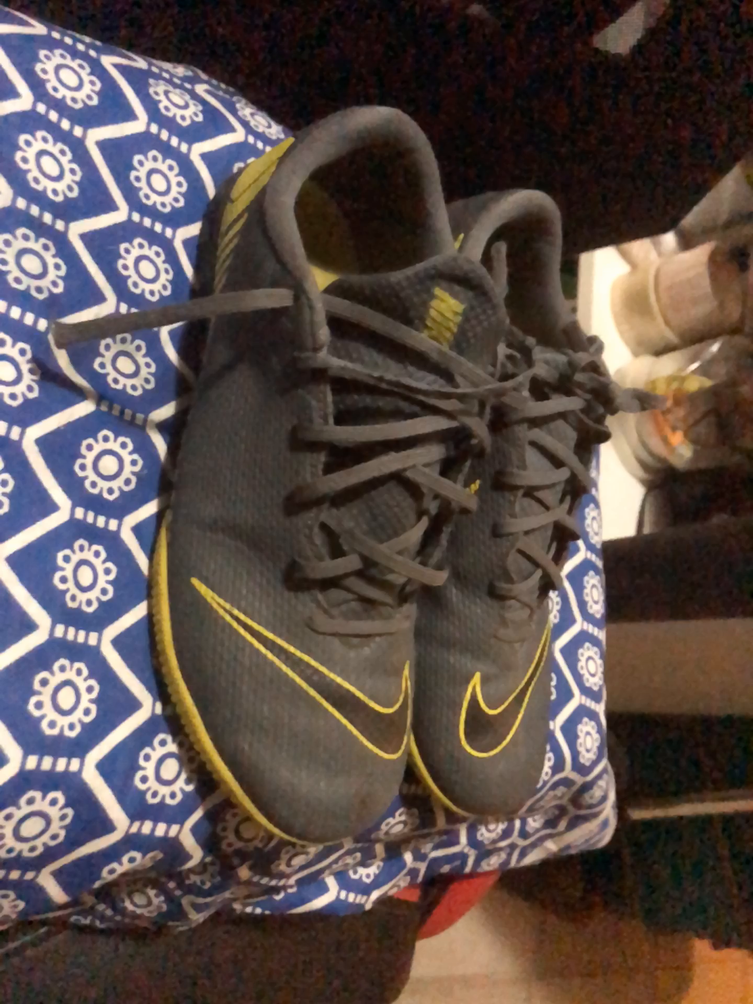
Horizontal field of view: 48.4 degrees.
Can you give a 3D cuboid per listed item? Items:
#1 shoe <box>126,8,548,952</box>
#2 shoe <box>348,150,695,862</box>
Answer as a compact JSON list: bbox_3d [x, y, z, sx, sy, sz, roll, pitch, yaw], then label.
[{"bbox_3d":[-0.016,-0.007,0.272,0.091,0.089,0.240,7,77,-41],"label":"shoe"},{"bbox_3d":[0.054,0.003,0.341,0.091,0.089,0.240,7,77,-41],"label":"shoe"}]
